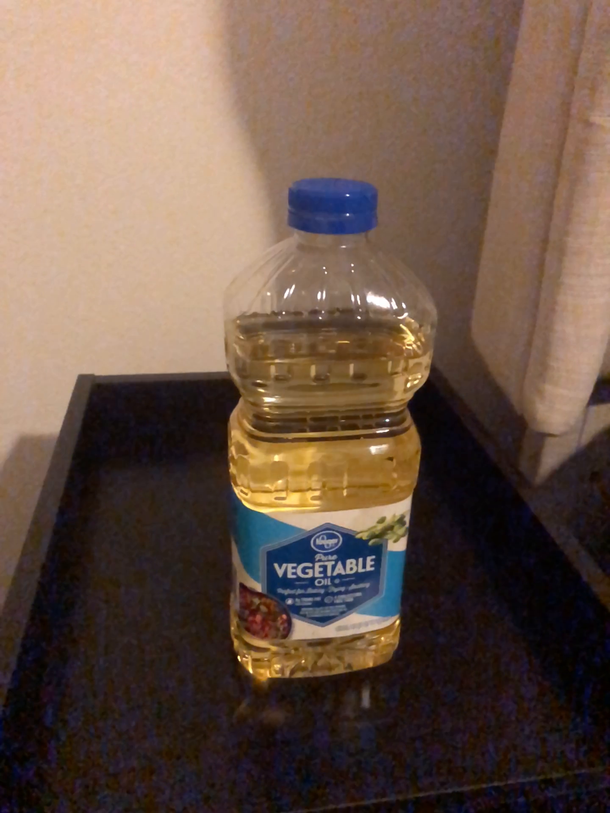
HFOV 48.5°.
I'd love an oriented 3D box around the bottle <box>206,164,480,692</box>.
[{"bbox_3d":[0.008,0.018,0.371,0.110,0.275,0.084,-3,27,-9],"label":"bottle"}]
